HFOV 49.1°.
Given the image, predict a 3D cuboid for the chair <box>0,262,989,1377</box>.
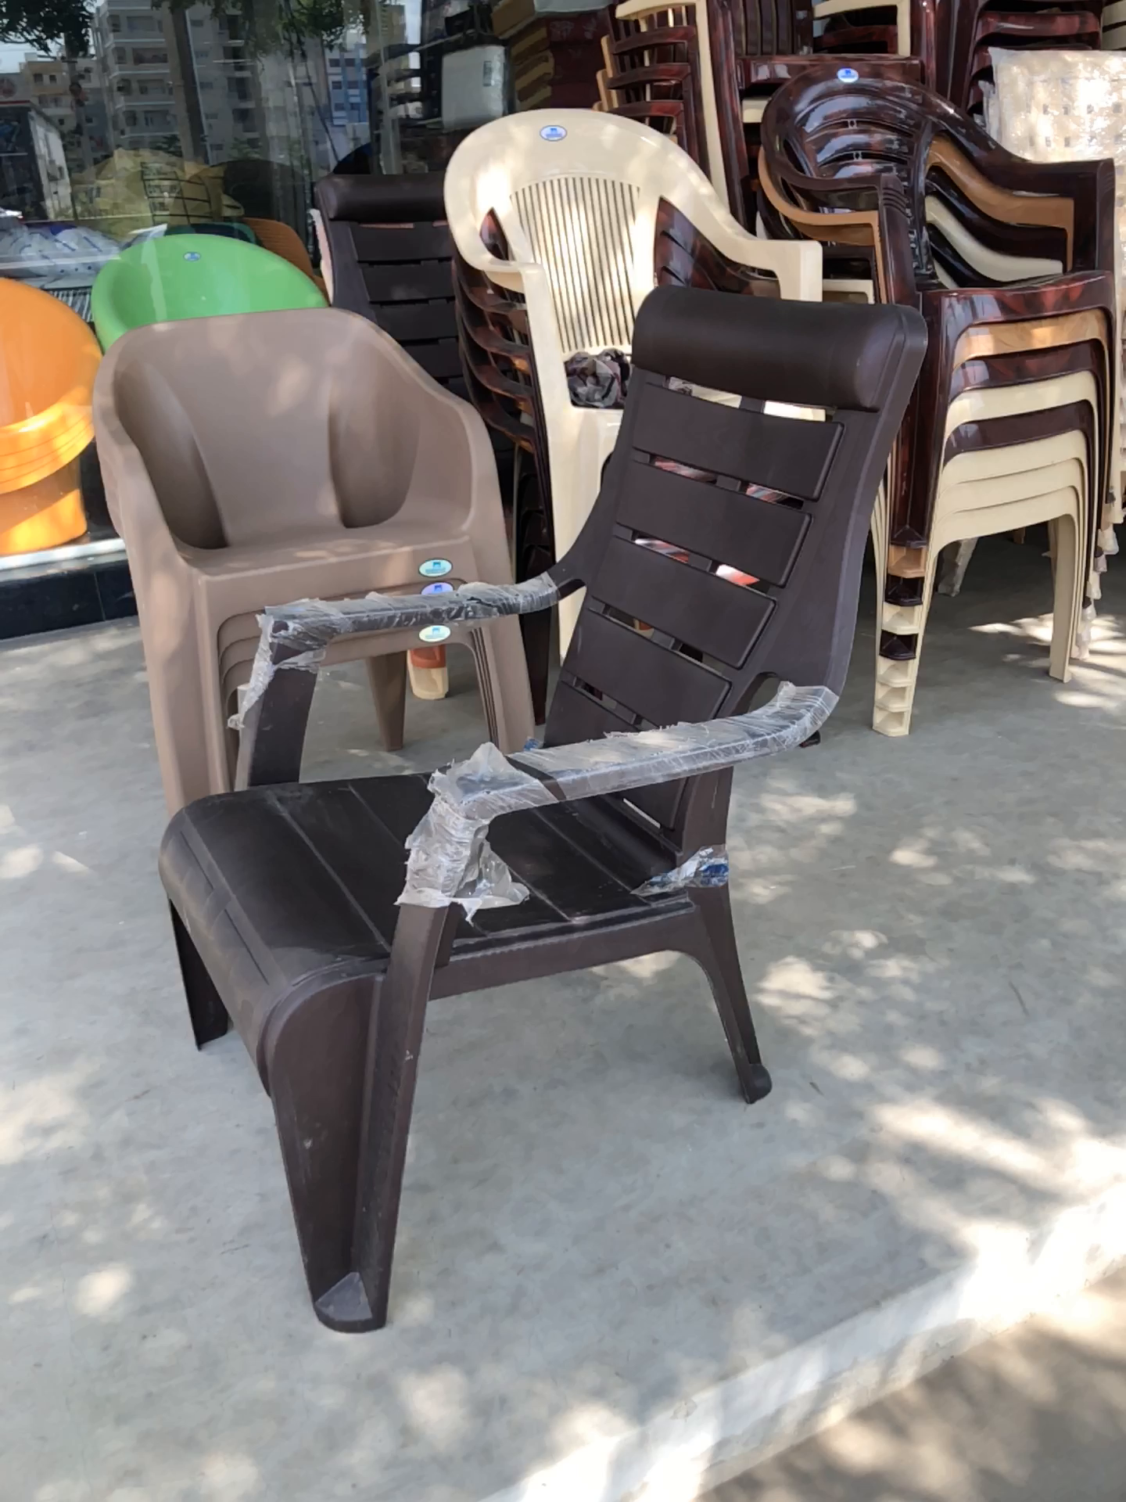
[{"bbox_3d":[-0.097,-0.042,1.371,0.761,0.876,0.682,-15,26,-24],"label":"chair"}]
